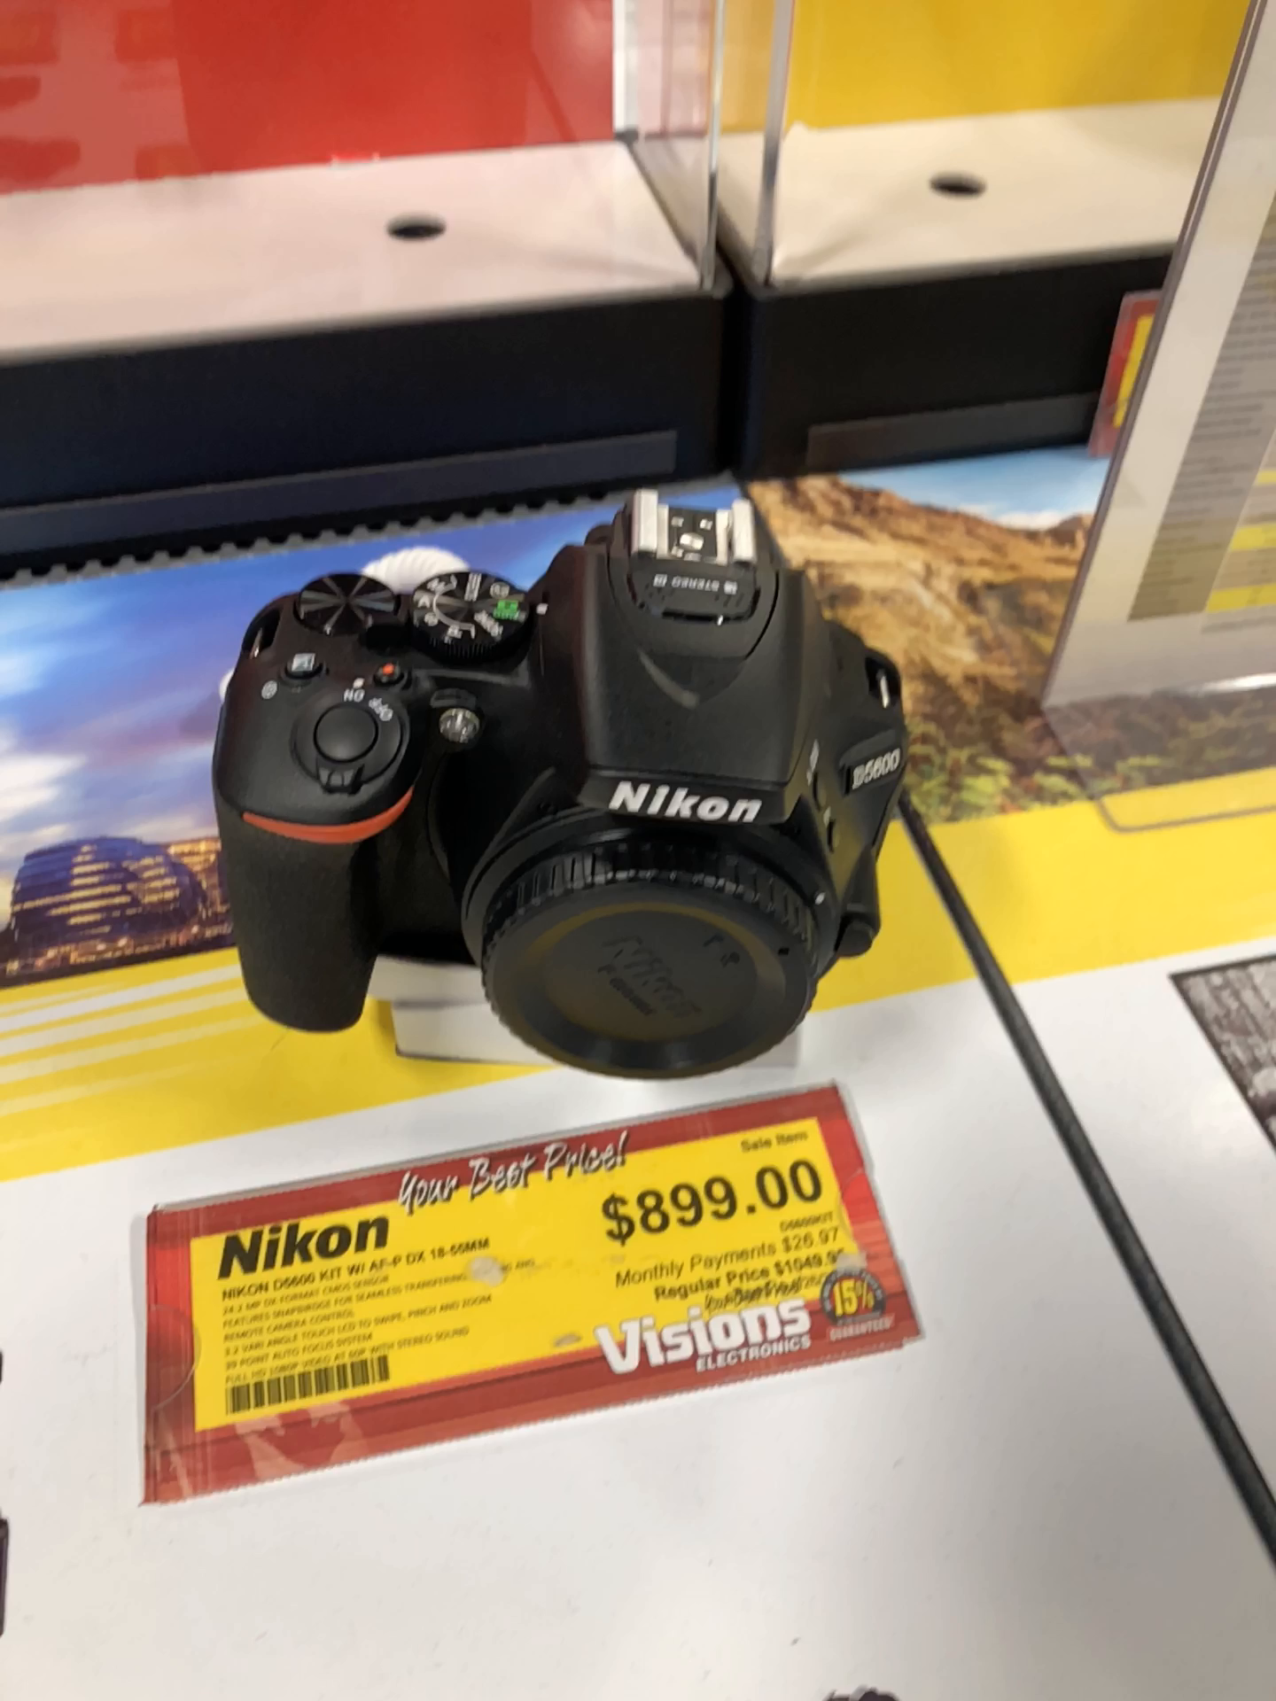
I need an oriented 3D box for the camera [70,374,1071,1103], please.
[{"bbox_3d":[-0.011,-0.019,0.258,0.140,0.089,0.081,5,45,-2],"label":"camera"}]
